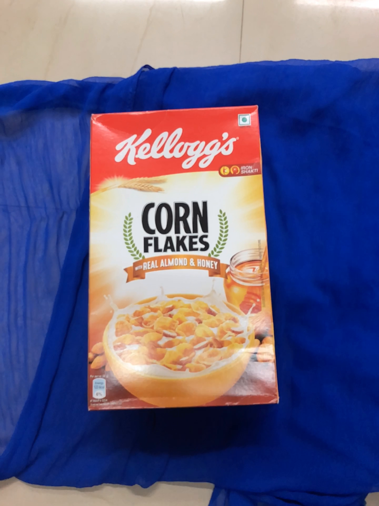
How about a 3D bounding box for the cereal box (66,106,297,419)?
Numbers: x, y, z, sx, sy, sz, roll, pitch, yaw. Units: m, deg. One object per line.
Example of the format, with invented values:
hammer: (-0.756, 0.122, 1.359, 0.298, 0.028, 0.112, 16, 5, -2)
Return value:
cereal box: (-0.011, 0.008, 0.454, 0.210, 0.090, 0.300, -2, 80, 1)
